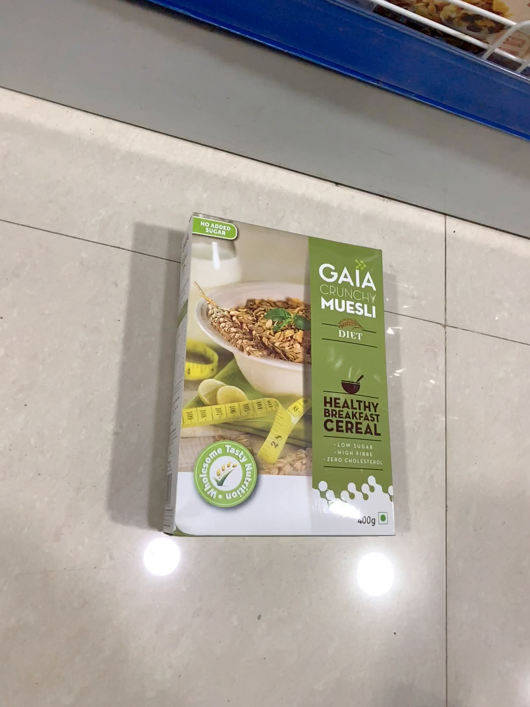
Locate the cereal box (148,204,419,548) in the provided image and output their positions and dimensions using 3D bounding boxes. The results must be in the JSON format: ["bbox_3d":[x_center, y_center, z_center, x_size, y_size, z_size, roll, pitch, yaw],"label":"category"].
[{"bbox_3d":[0.014,0.022,0.416,0.180,0.070,0.230,6,75,-18],"label":"cereal box"}]
